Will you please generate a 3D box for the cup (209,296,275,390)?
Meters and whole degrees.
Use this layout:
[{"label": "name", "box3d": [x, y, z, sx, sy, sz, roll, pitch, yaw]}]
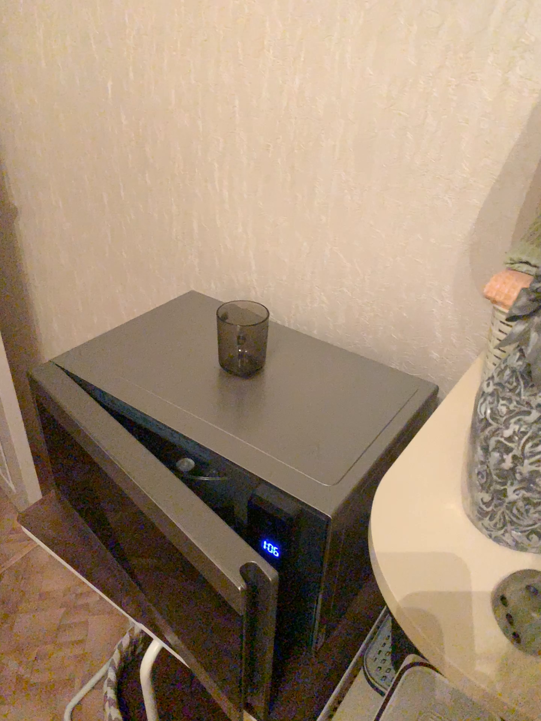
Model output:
[{"label": "cup", "box3d": [-0.036, -0.026, 0.752, 0.080, 0.079, 0.111, 3, 32, 0]}]
